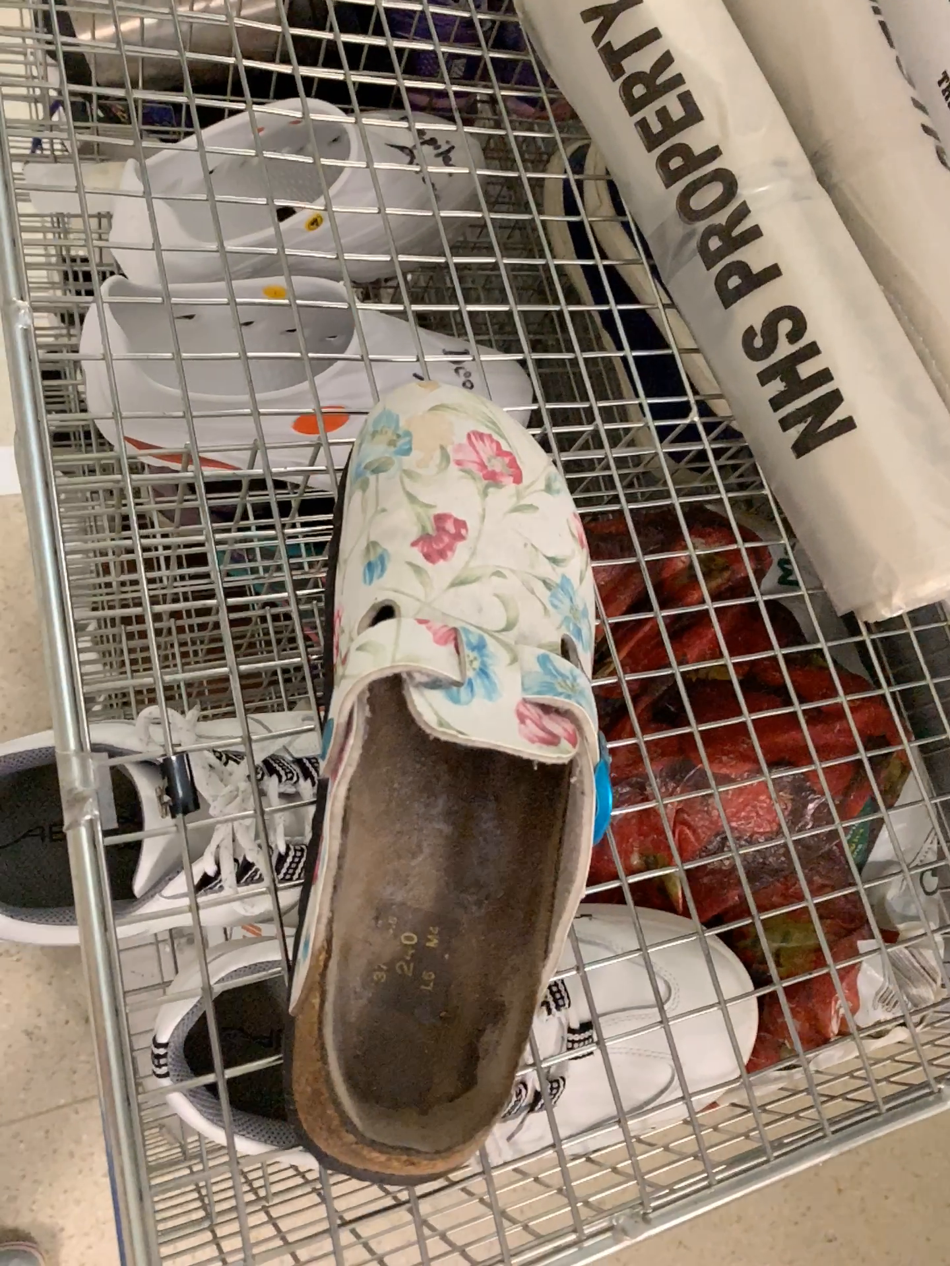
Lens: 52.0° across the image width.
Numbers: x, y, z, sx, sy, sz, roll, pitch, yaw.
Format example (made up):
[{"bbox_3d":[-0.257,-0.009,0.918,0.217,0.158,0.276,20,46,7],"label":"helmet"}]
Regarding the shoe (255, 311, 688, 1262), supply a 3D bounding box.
[{"bbox_3d":[0.002,0.038,0.308,0.100,0.070,0.260,9,68,-16],"label":"shoe"}]
